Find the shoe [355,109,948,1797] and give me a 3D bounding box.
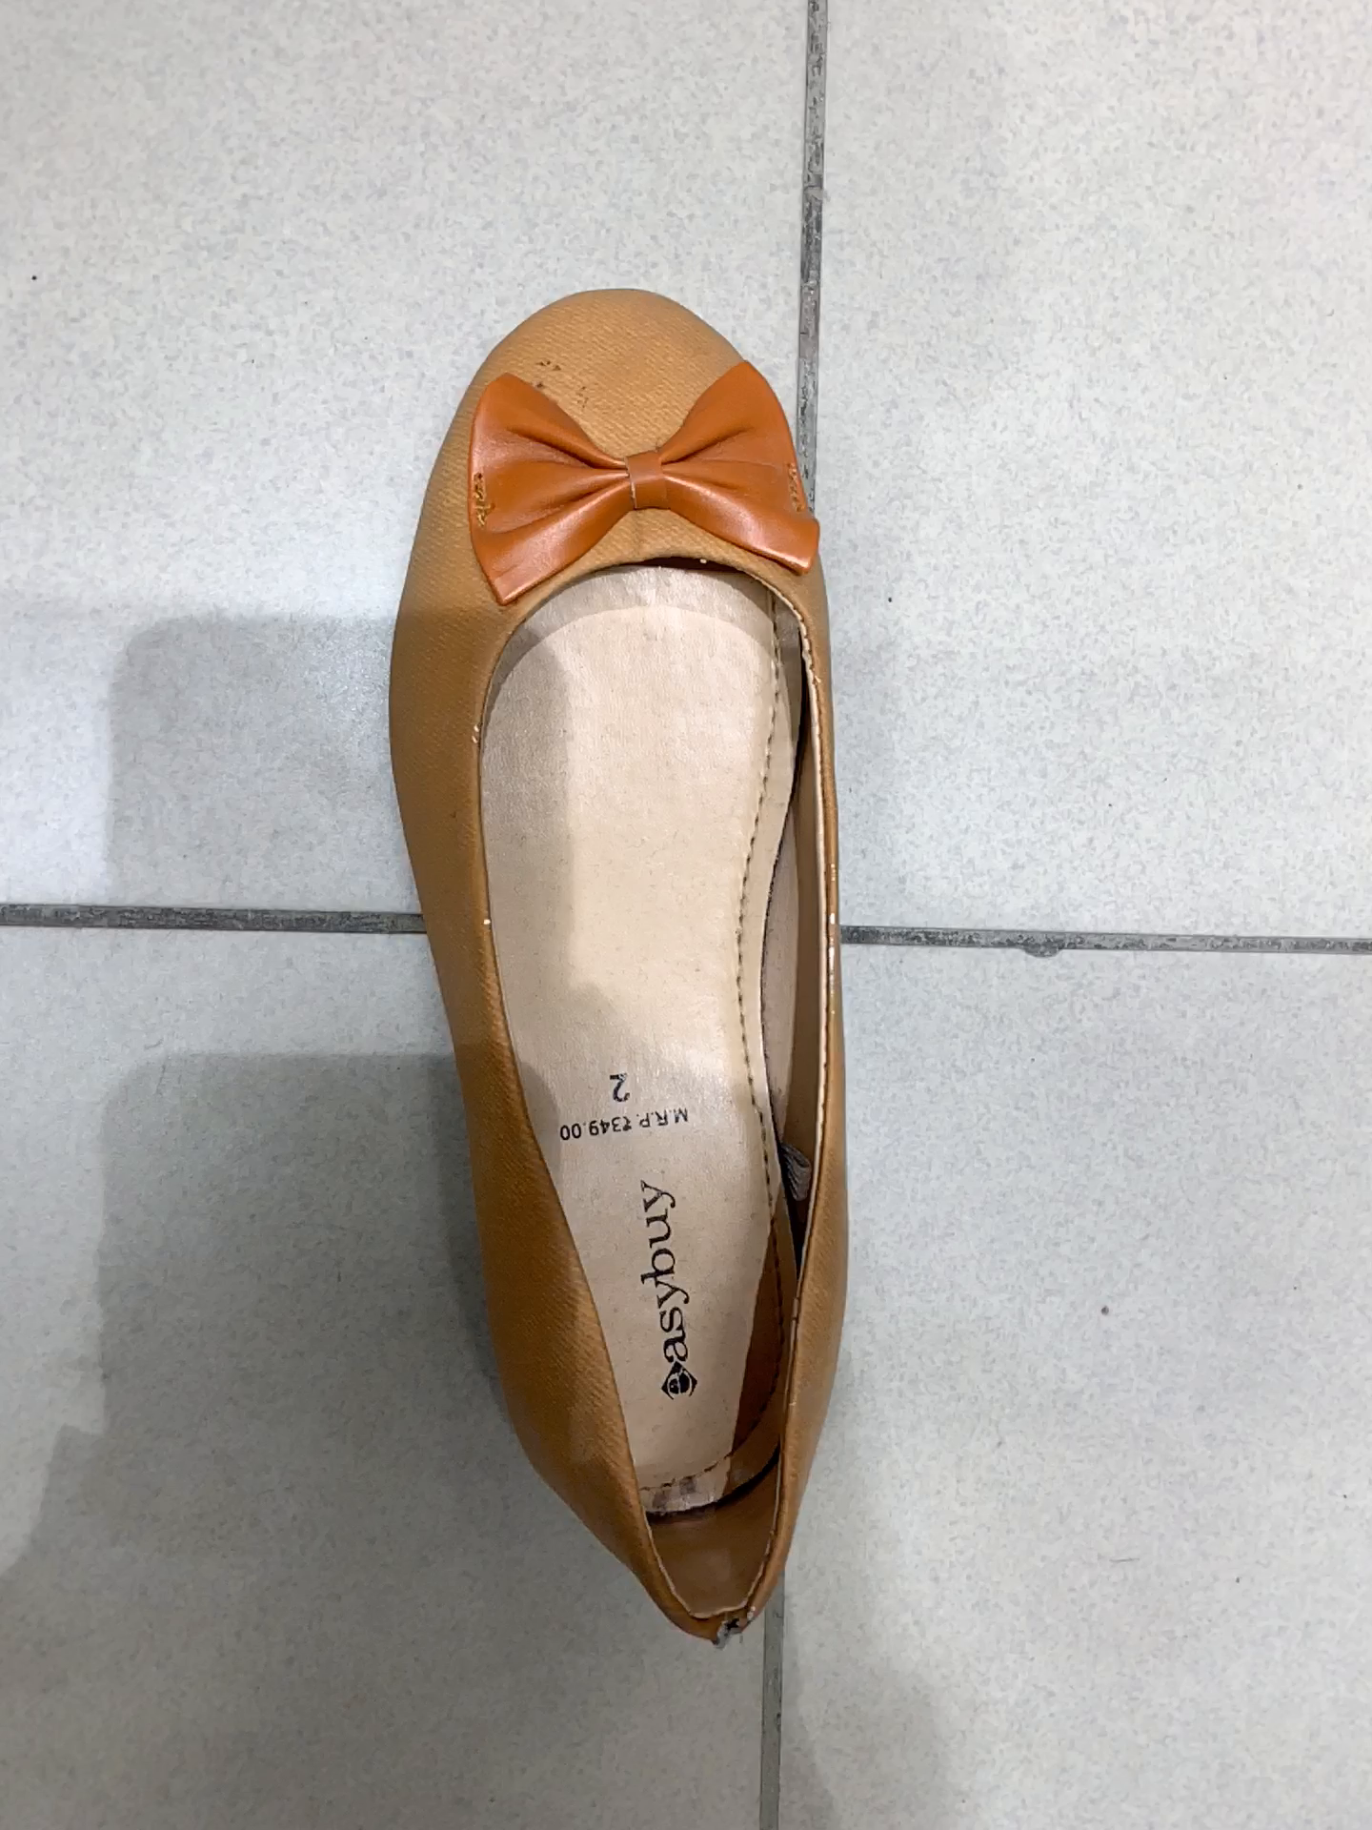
[{"bbox_3d":[-0.009,0.006,0.226,0.080,0.070,0.220,0,92,-10],"label":"shoe"}]
